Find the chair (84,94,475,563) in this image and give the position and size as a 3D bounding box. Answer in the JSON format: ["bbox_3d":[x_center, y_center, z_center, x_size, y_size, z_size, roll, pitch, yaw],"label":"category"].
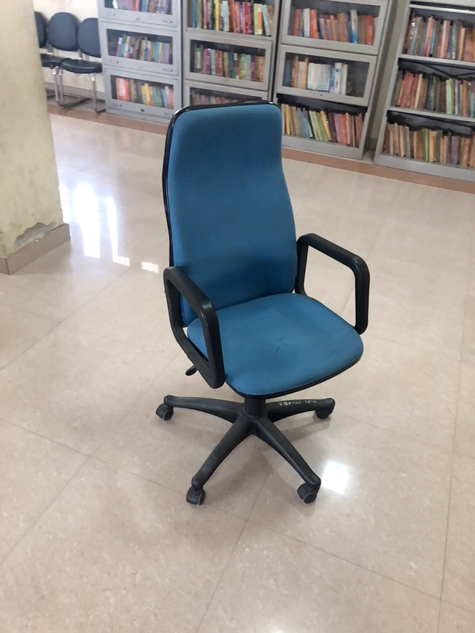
[{"bbox_3d":[0.064,-0.022,1.632,0.741,1.076,0.762,-16,39,-27],"label":"chair"}]
